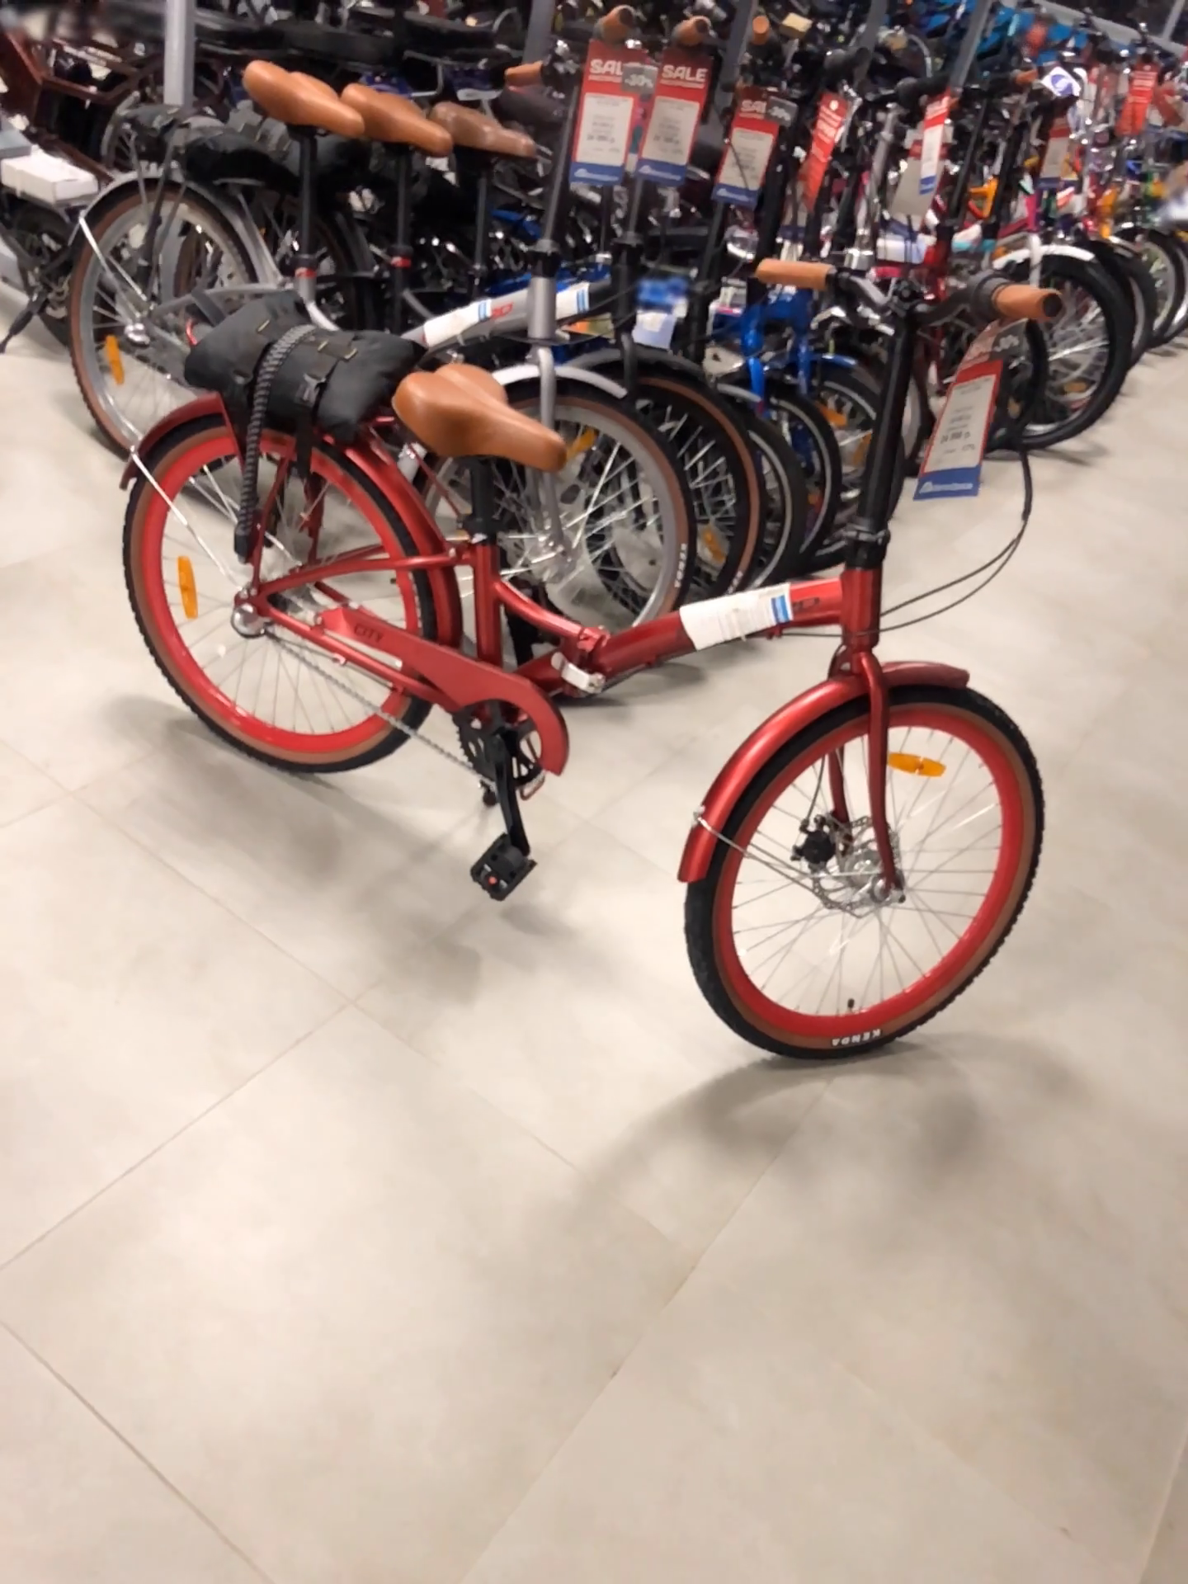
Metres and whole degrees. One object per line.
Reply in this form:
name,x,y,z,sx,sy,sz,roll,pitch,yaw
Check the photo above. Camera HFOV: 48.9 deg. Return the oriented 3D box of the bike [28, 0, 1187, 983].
bike,0.012,-0.469,1.970,1.493,1.111,0.519,17,35,7
